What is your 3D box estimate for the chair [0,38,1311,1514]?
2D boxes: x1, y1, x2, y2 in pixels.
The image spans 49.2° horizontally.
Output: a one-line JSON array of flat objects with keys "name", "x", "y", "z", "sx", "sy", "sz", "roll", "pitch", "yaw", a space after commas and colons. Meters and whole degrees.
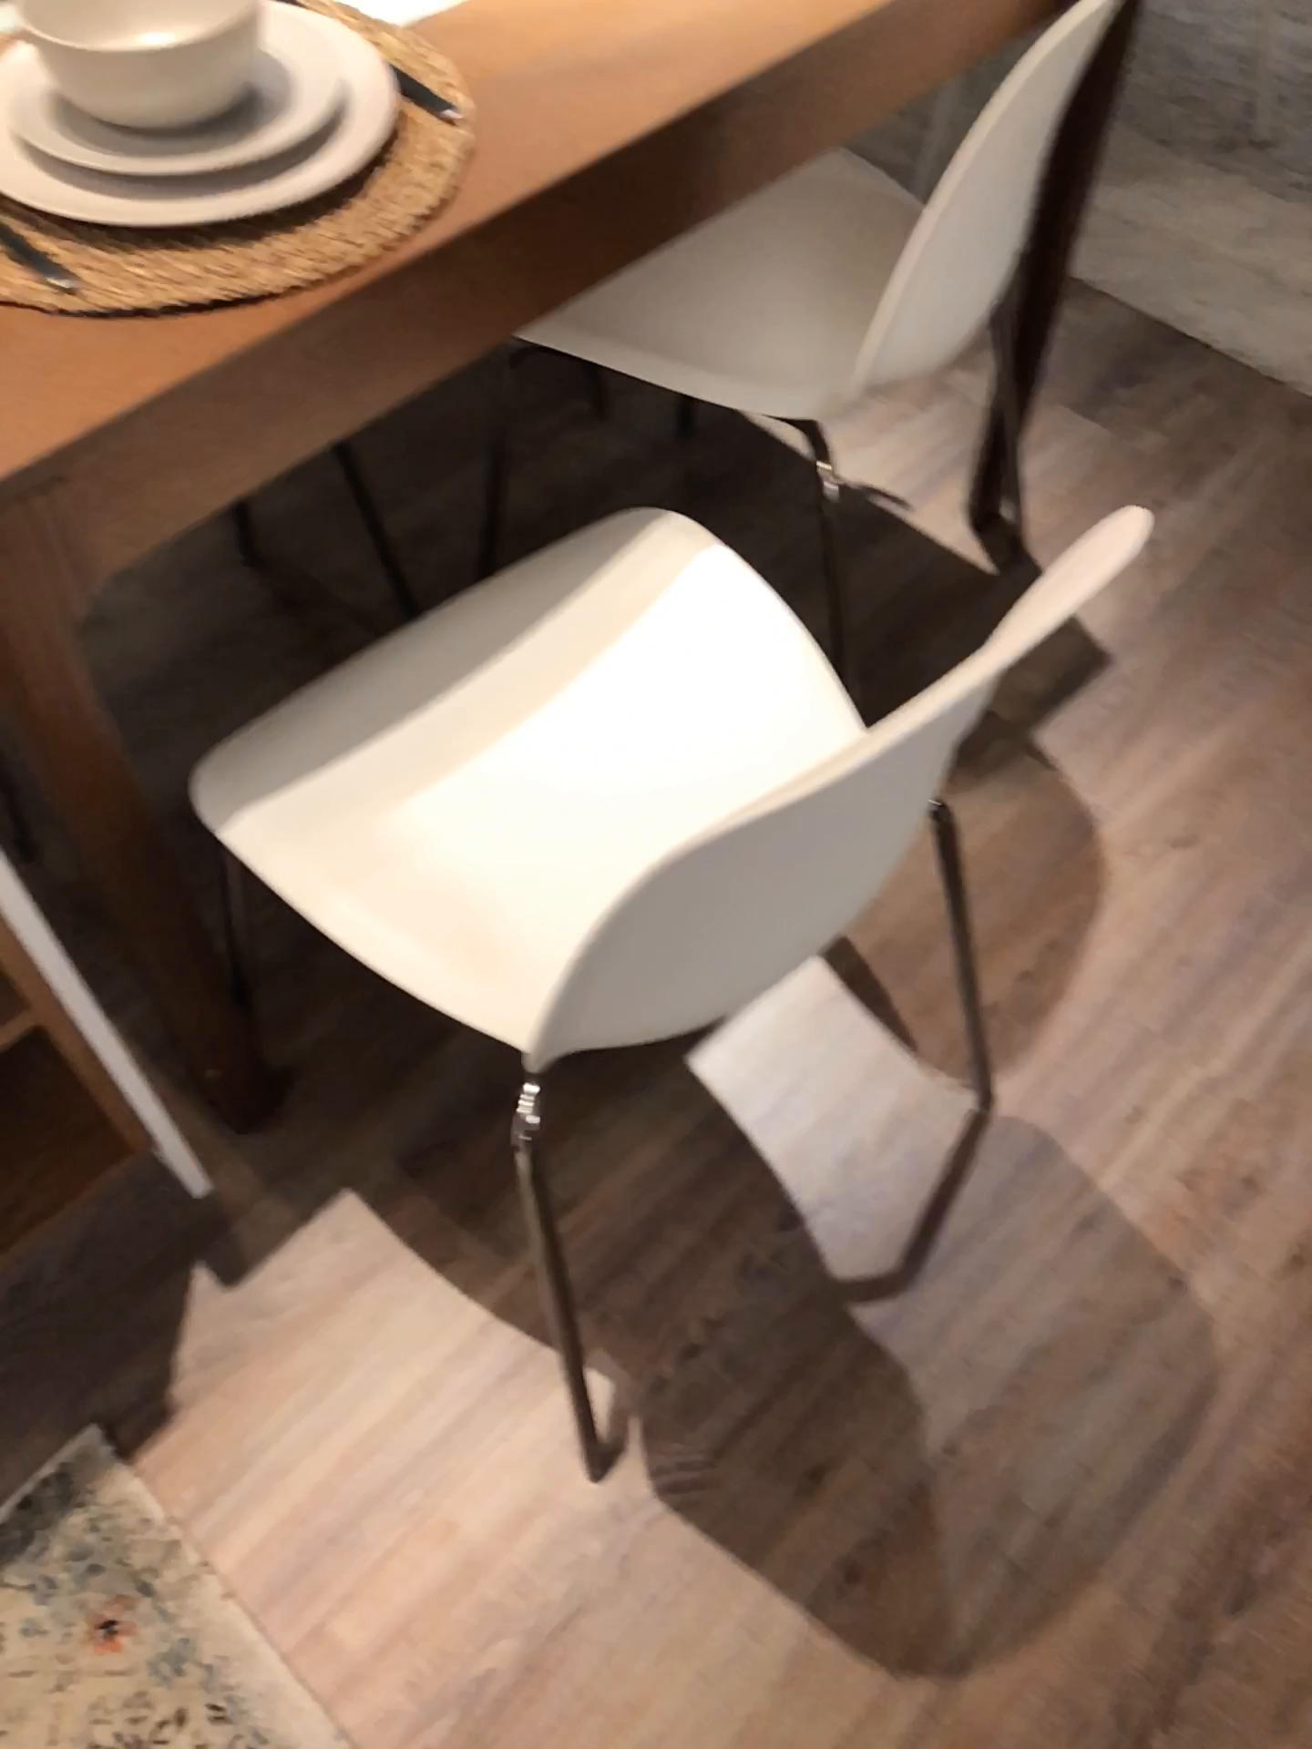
[{"name": "chair", "x": -0.031, "y": -0.032, "z": 1.003, "sx": 0.541, "sy": 0.706, "sz": 0.532, "roll": -36, "pitch": 63, "yaw": -23}]
